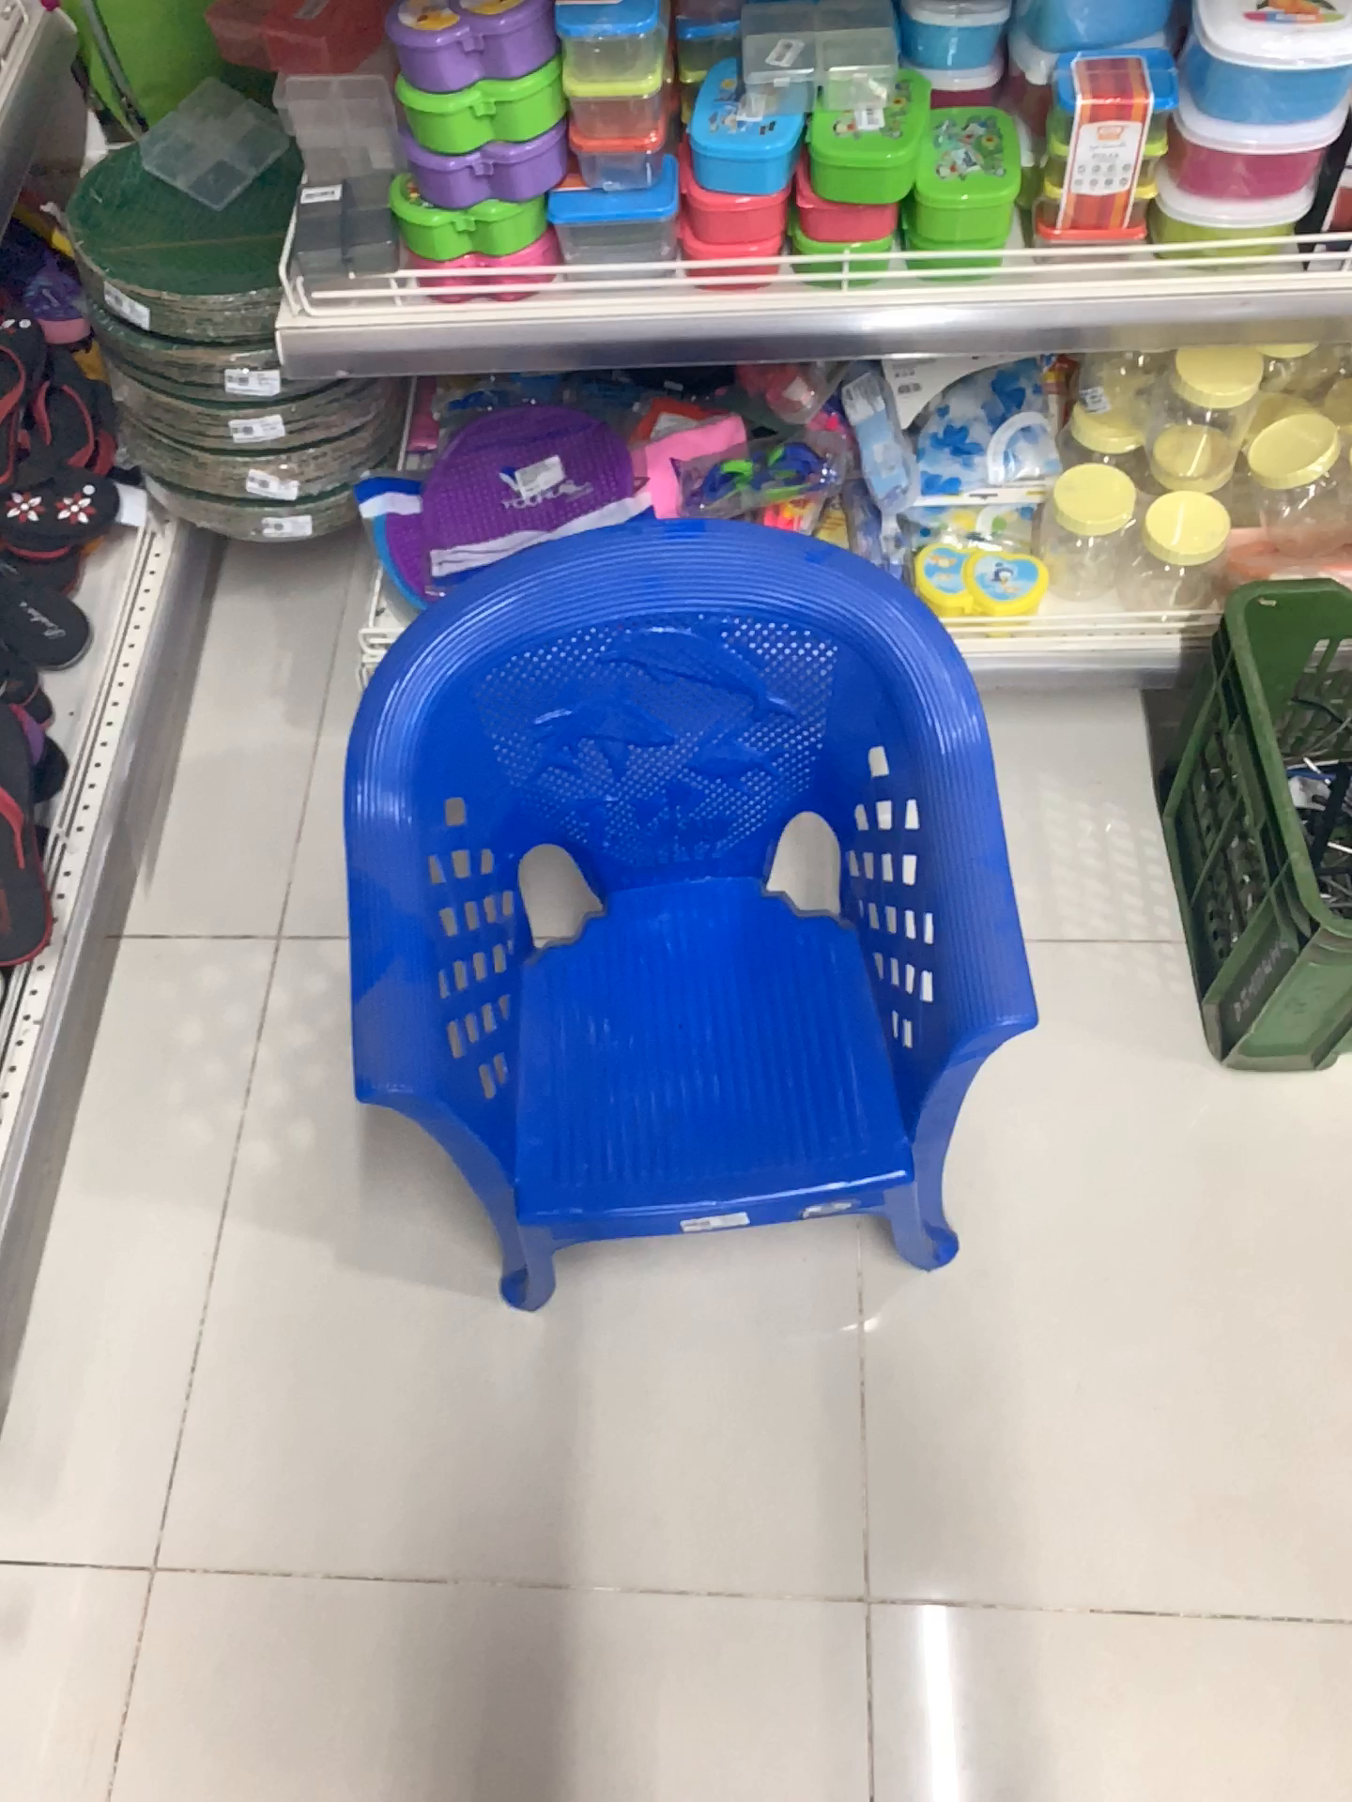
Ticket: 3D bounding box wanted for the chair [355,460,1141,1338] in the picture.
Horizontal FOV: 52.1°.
[{"bbox_3d":[0.034,0.031,1.049,0.420,0.469,0.451,-7,61,2],"label":"chair"}]
